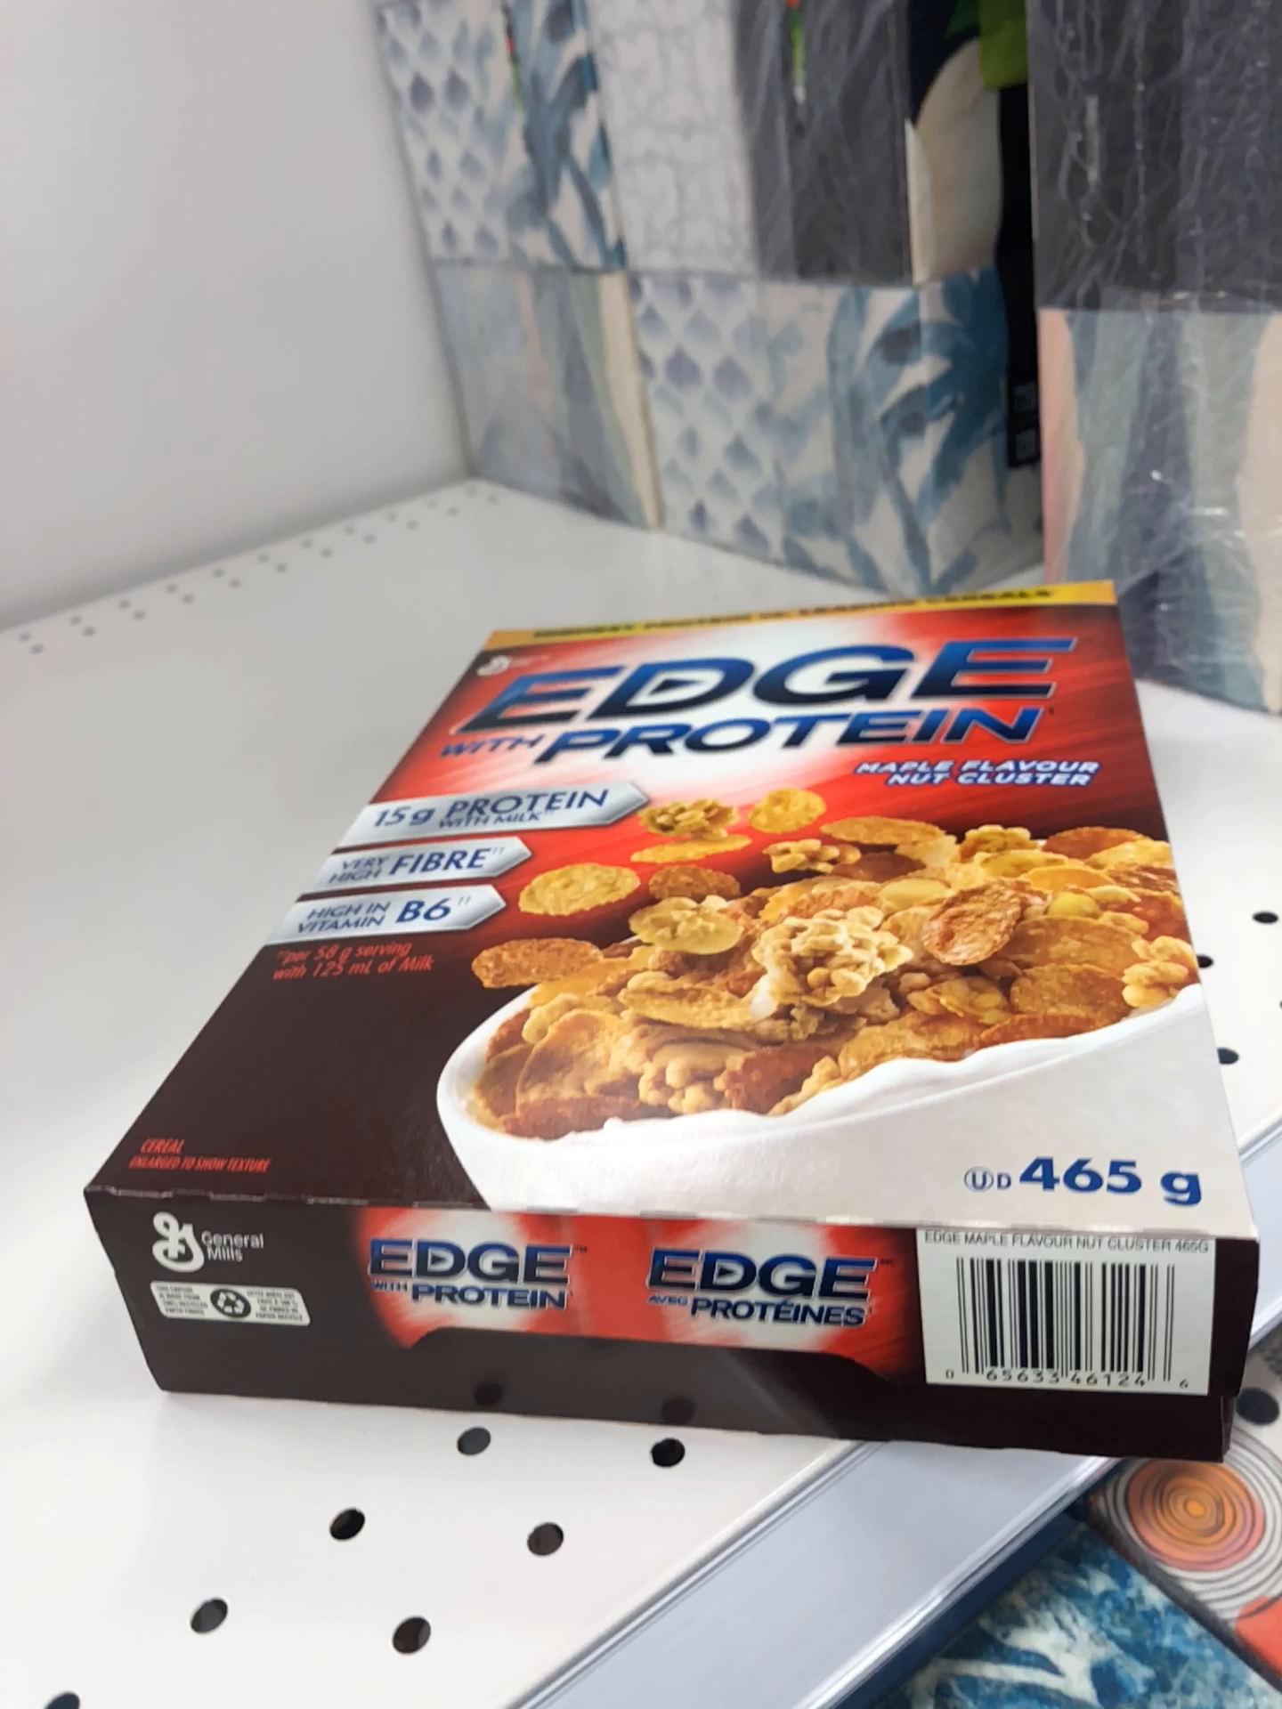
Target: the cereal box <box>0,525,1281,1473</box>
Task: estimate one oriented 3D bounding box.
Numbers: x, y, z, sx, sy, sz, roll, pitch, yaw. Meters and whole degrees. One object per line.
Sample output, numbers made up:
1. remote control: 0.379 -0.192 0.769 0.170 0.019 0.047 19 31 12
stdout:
1. cereal box: 0.013 0.001 0.334 0.220 0.050 0.271 -2 30 14
